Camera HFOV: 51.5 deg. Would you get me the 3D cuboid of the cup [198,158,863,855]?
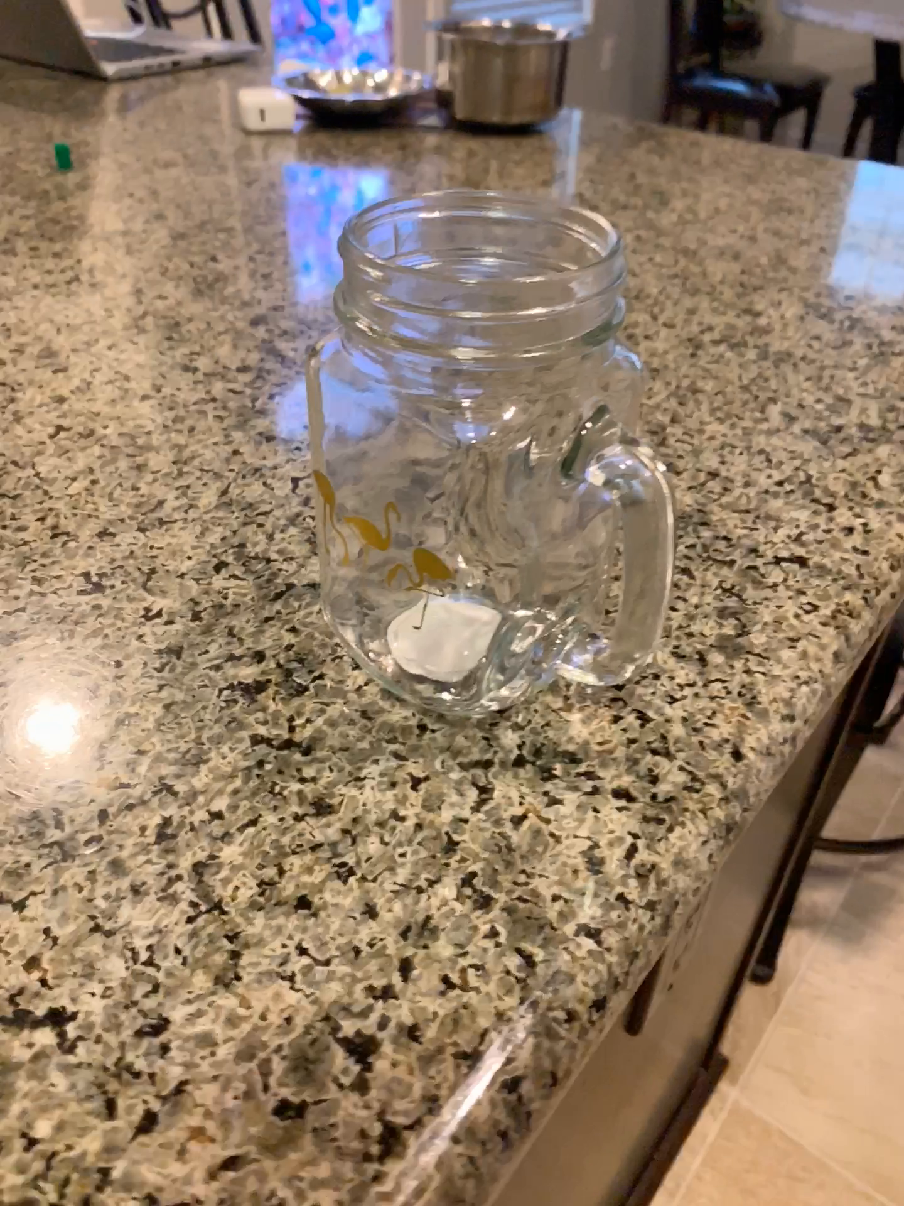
[{"bbox_3d":[0.013,-0.031,0.240,0.121,0.119,0.080,30,46,31],"label":"cup"}]
